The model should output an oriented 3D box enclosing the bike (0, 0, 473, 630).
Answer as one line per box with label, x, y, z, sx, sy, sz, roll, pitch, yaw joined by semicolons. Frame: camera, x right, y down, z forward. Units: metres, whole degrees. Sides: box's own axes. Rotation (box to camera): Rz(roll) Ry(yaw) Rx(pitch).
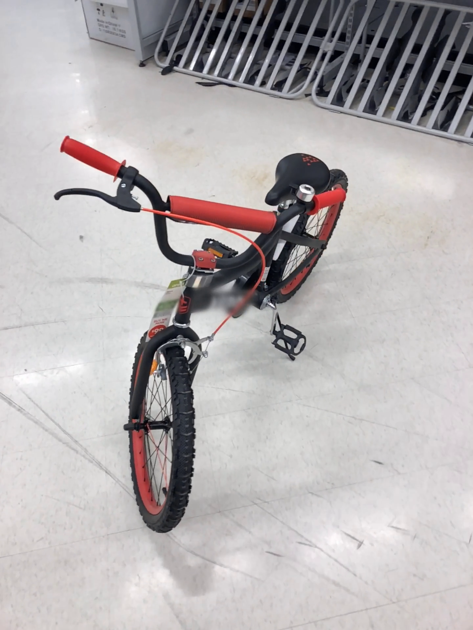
bike;0.099;-0.134;1.316;0.625;0.924;1.252;17;50;18
